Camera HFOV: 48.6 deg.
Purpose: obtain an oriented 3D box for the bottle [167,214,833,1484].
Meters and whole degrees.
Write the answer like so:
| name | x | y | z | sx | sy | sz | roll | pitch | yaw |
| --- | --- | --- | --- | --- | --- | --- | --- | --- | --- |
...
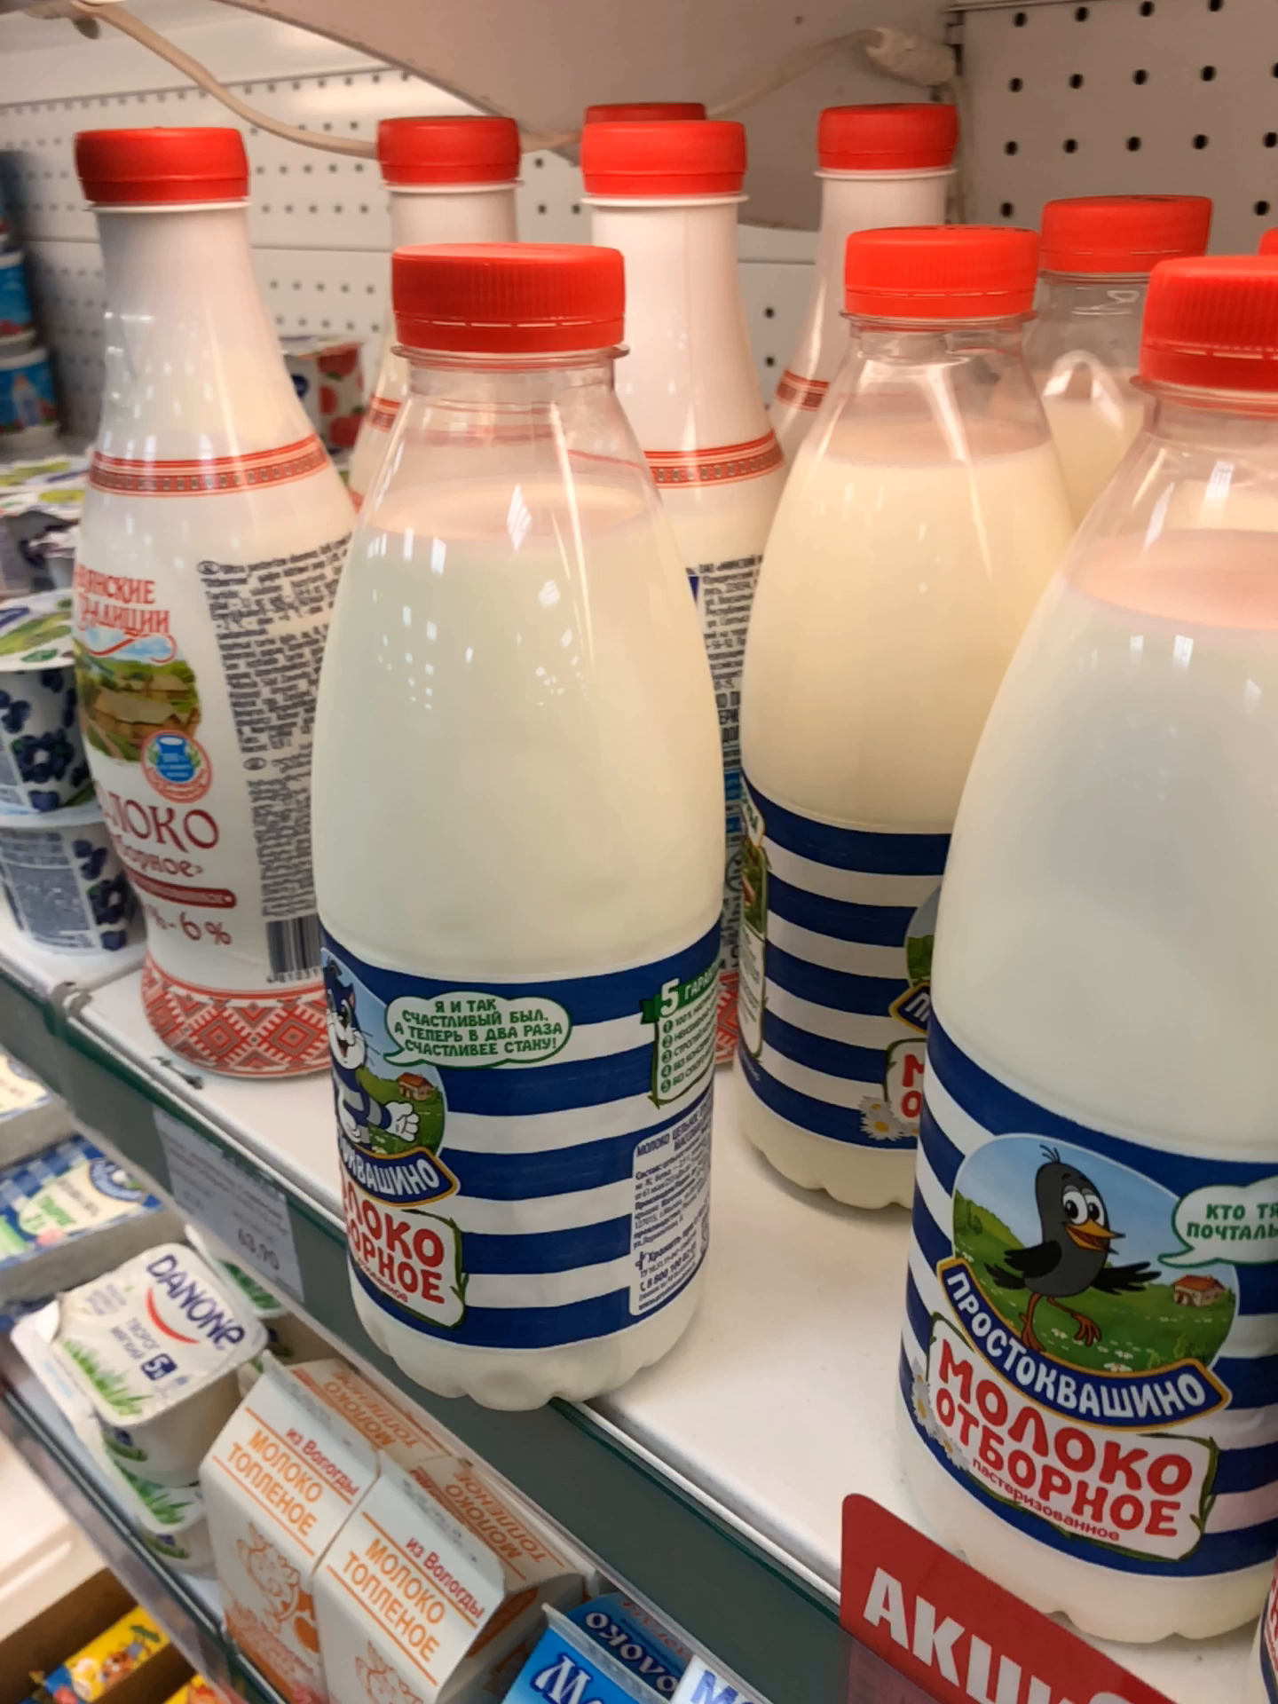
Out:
| name | x | y | z | sx | sy | sz | roll | pitch | yaw |
| --- | --- | --- | --- | --- | --- | --- | --- | --- | --- |
| bottle | -0.030 | -0.004 | 0.290 | 0.080 | 0.228 | 0.090 | -15 | 28 | -34 |
